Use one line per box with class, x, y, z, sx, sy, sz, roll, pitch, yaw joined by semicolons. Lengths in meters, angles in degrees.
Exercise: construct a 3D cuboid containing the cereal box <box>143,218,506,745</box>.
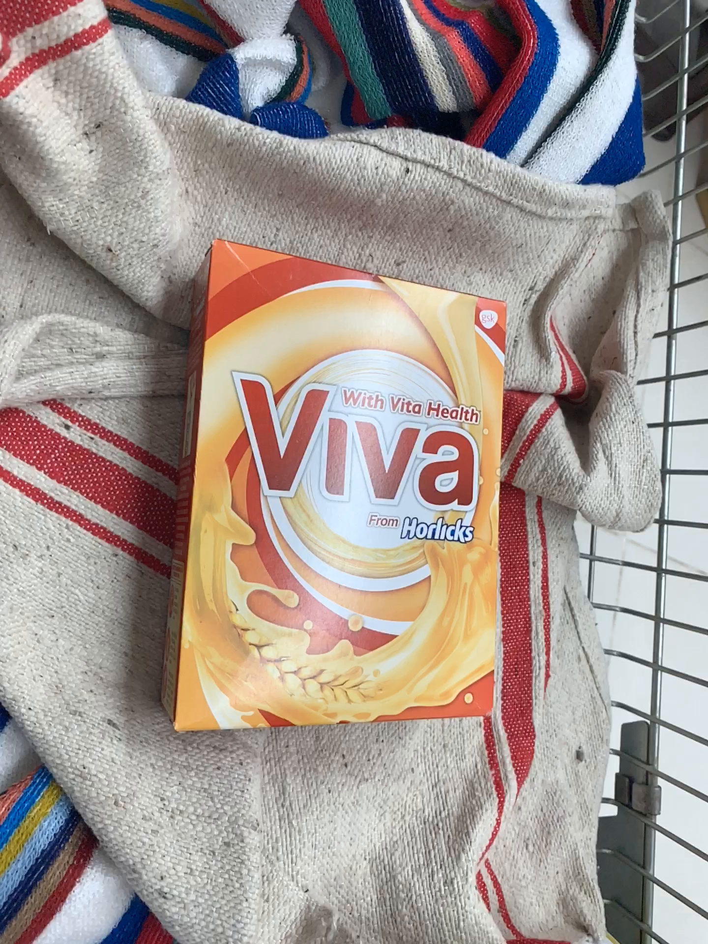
cereal box;-0.011;0.009;0.339;0.140;0.070;0.200;6;84;-26
